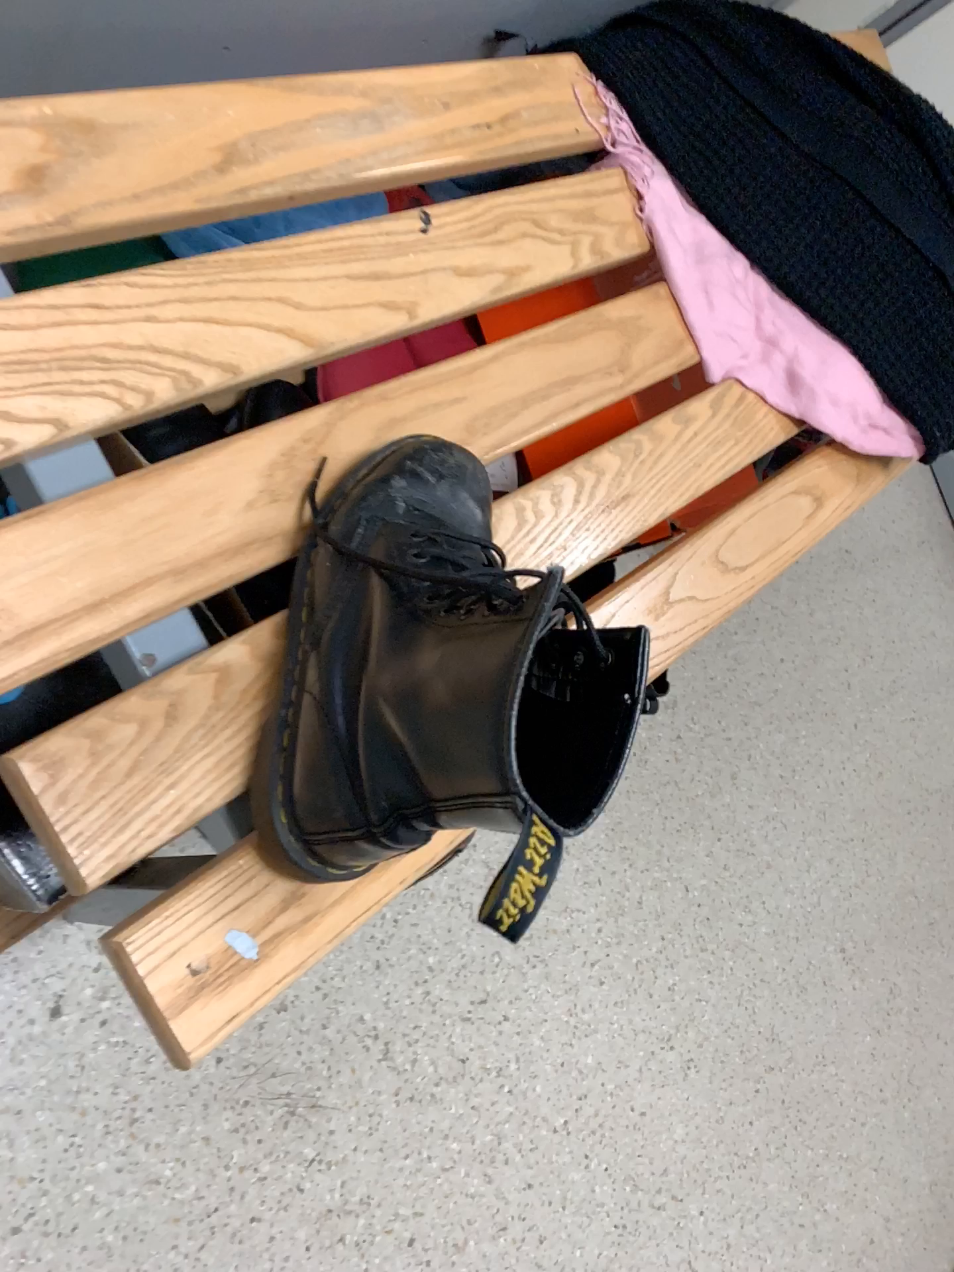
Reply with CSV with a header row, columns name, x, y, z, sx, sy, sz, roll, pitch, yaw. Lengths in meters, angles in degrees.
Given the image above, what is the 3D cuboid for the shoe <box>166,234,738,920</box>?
name,x,y,z,sx,sy,sz,roll,pitch,yaw
shoe,-0.010,-0.014,0.460,0.107,0.199,0.262,32,60,-28
